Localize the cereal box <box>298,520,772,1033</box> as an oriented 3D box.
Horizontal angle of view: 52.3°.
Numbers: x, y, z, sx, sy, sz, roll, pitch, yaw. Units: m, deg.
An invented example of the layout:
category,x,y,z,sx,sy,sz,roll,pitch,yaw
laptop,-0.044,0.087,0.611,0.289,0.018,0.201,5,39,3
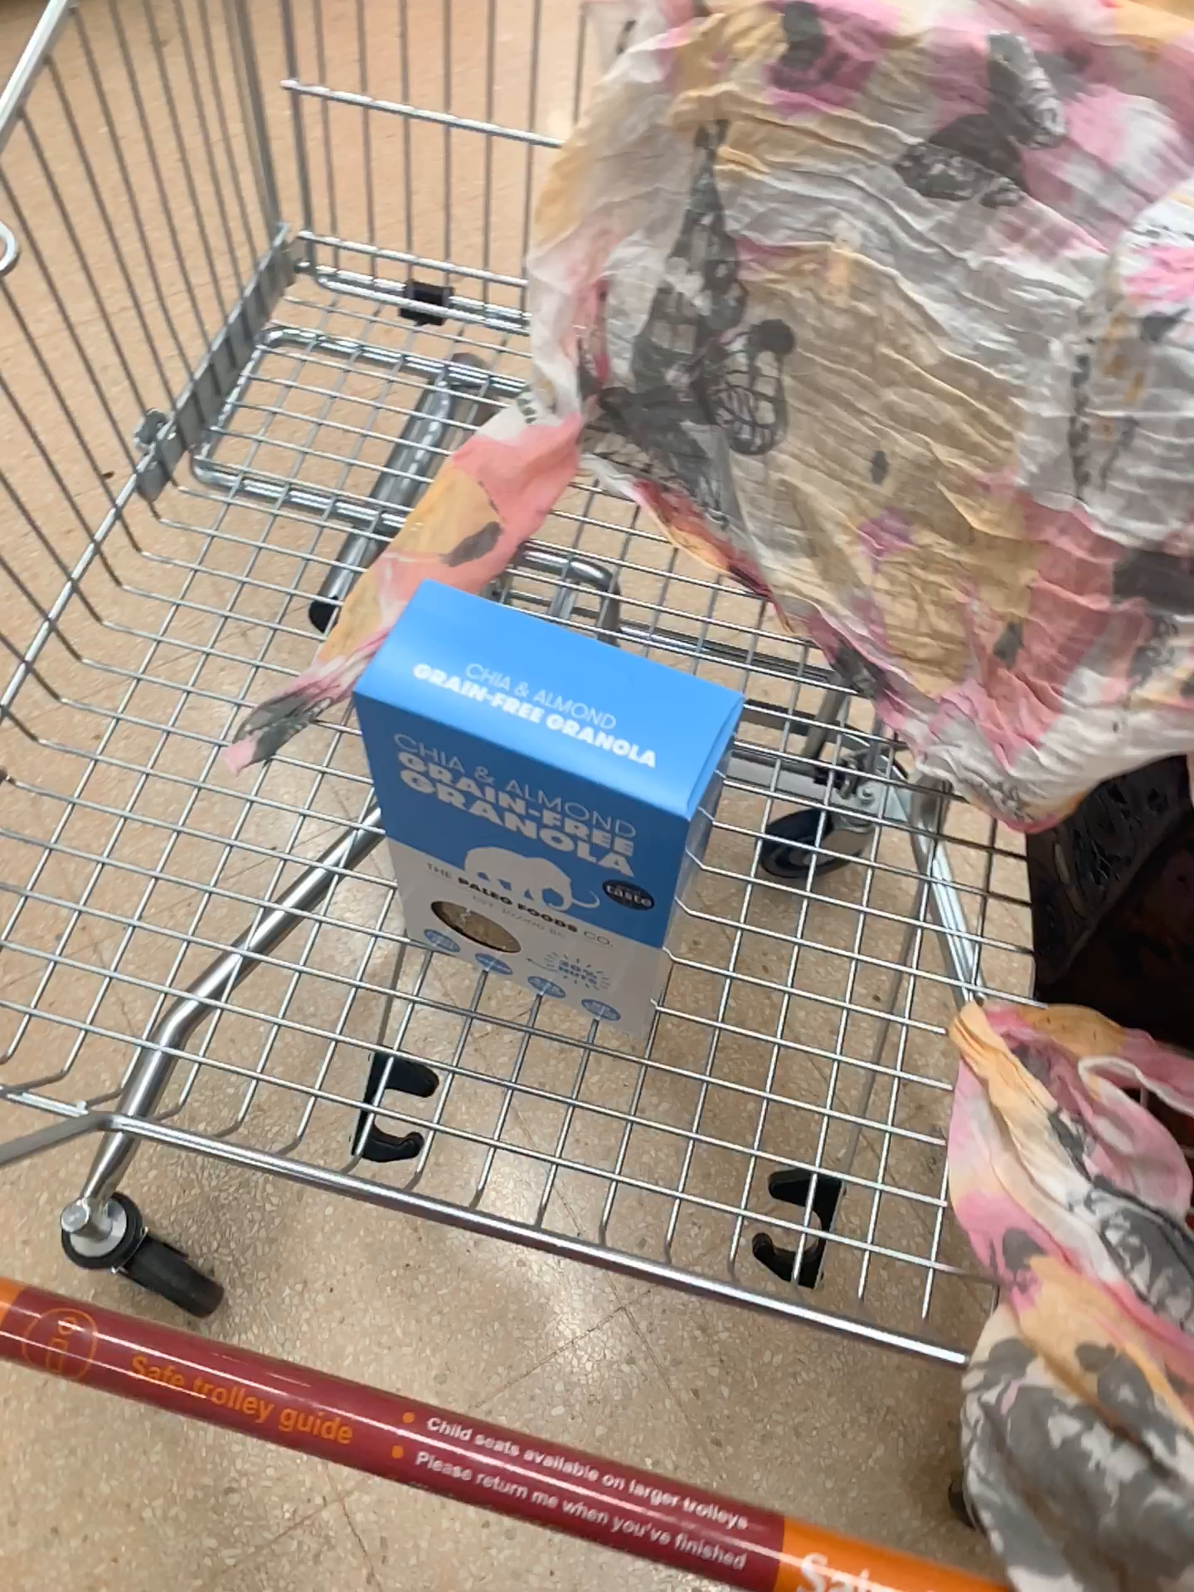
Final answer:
category,x,y,z,sx,sy,sz,roll,pitch,yaw
cereal box,-0.027,0.006,0.482,0.140,0.209,0.060,21,61,7
